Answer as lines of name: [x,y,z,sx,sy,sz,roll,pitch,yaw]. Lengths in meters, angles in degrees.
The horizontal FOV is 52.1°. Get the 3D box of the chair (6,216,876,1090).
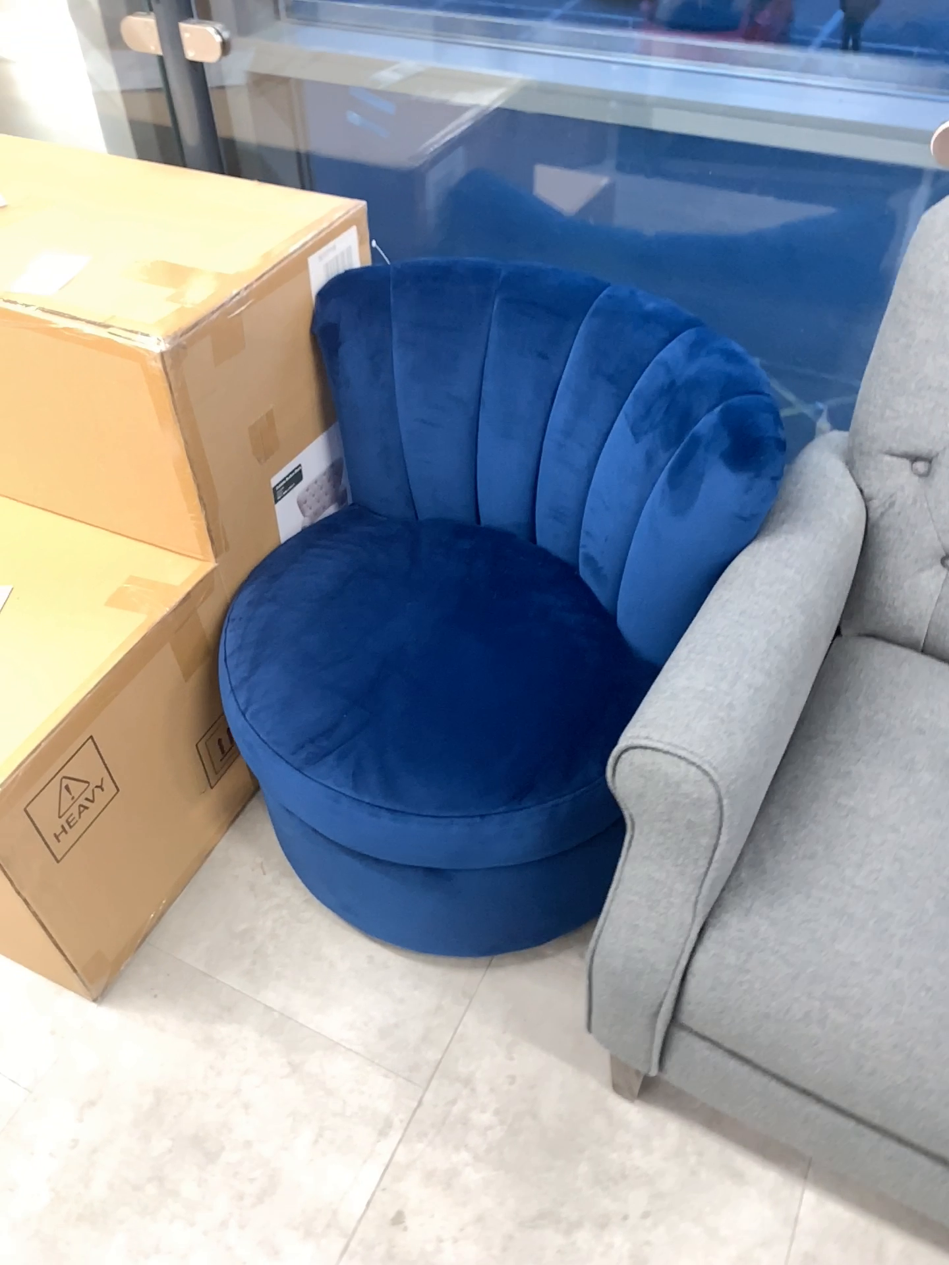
chair: [-0.002,-0.012,1.249,0.642,0.674,0.664,26,51,25]
